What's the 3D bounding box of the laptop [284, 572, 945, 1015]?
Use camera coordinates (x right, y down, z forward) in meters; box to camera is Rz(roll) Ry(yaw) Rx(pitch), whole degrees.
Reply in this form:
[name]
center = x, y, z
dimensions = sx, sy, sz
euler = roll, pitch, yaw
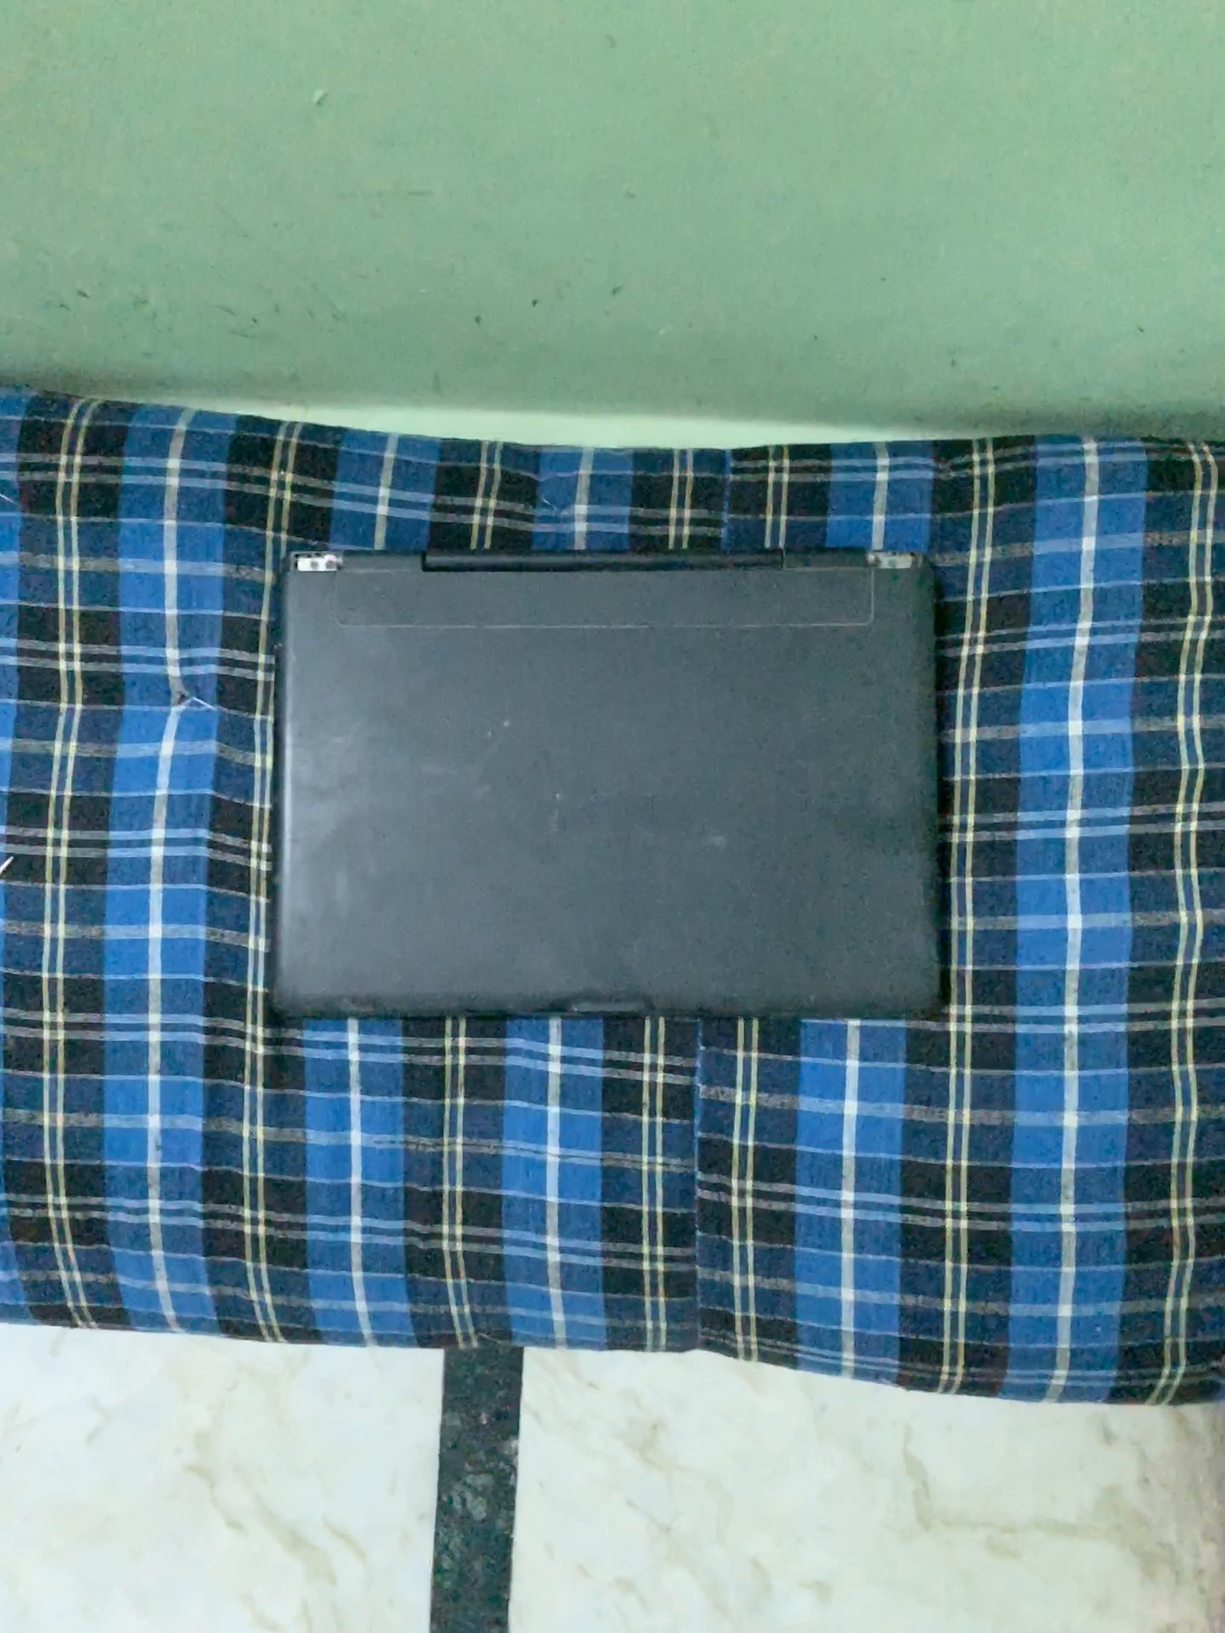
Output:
[laptop]
center = 0.002, -0.013, 0.619
dimensions = 0.323, 0.005, 0.216
euler = 1, 87, 1
